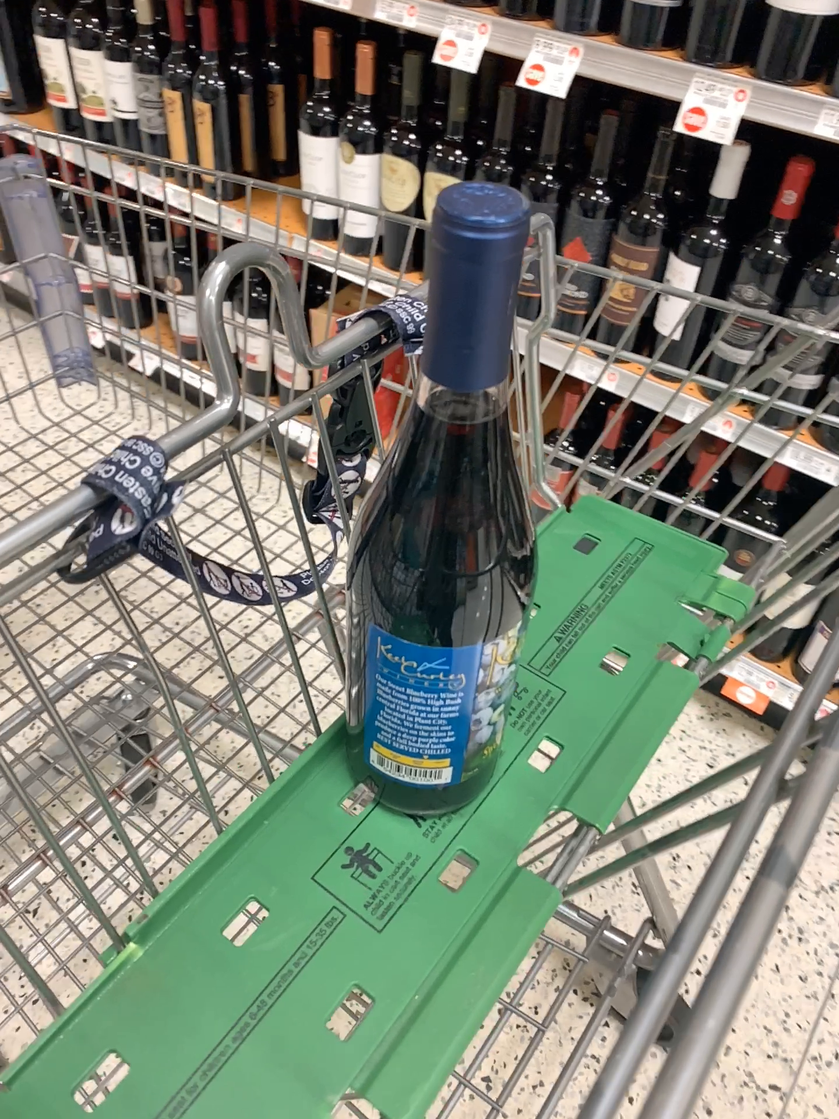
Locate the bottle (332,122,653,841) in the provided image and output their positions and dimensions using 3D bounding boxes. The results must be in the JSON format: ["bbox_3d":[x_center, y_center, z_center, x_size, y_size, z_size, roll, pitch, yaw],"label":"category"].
[{"bbox_3d":[0.018,-0.004,0.344,0.074,0.286,0.081,2,44,-2],"label":"bottle"}]
